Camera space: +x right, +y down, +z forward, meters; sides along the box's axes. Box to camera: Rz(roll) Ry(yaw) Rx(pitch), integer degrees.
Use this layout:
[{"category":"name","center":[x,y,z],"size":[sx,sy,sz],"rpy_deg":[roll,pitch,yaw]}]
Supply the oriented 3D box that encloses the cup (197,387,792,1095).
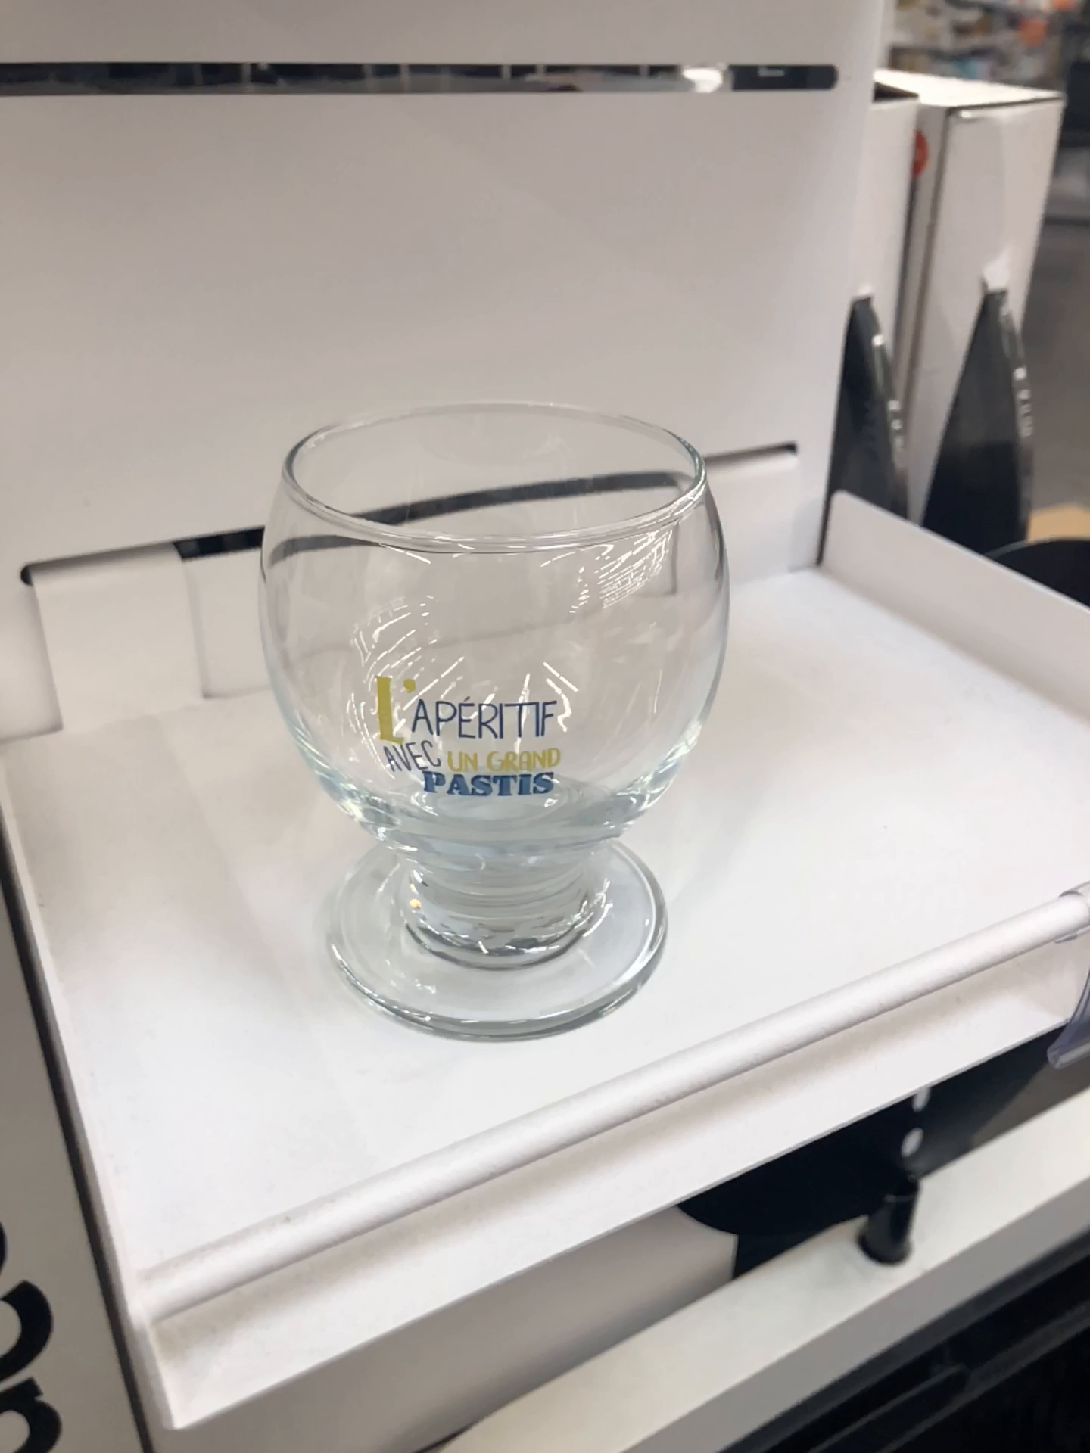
[{"category":"cup","center":[-0.007,-0.001,0.207],"size":[0.073,0.093,0.079],"rpy_deg":[0,29,0]}]
